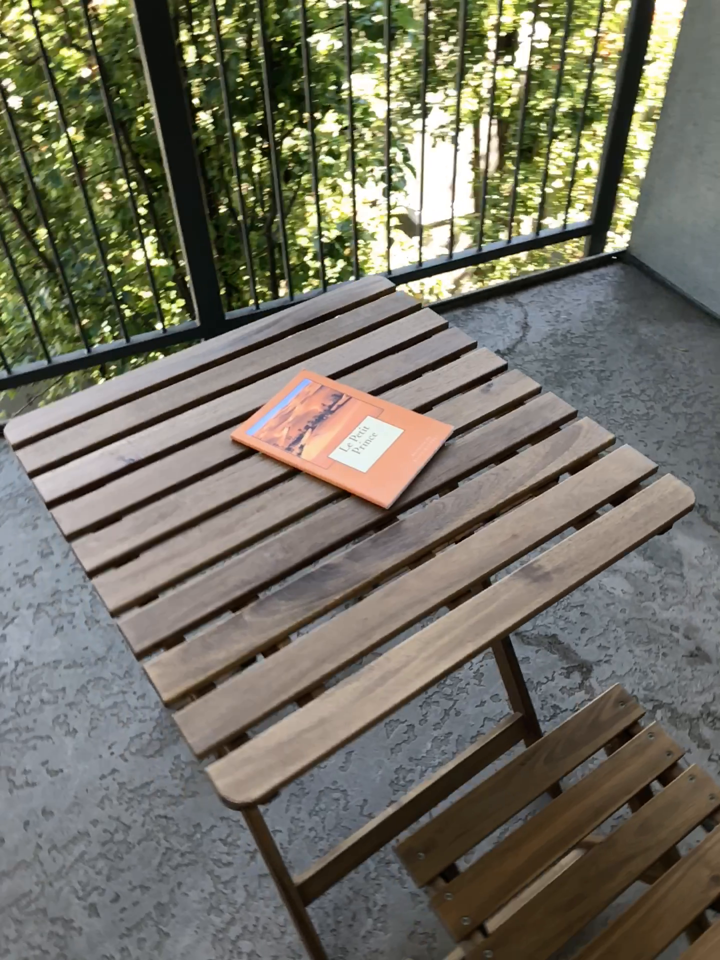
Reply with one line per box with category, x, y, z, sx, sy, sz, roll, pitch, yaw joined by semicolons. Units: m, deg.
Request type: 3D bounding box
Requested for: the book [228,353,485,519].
book;-0.004;-0.063;0.955;0.250;0.010;0.180;24;51;24
